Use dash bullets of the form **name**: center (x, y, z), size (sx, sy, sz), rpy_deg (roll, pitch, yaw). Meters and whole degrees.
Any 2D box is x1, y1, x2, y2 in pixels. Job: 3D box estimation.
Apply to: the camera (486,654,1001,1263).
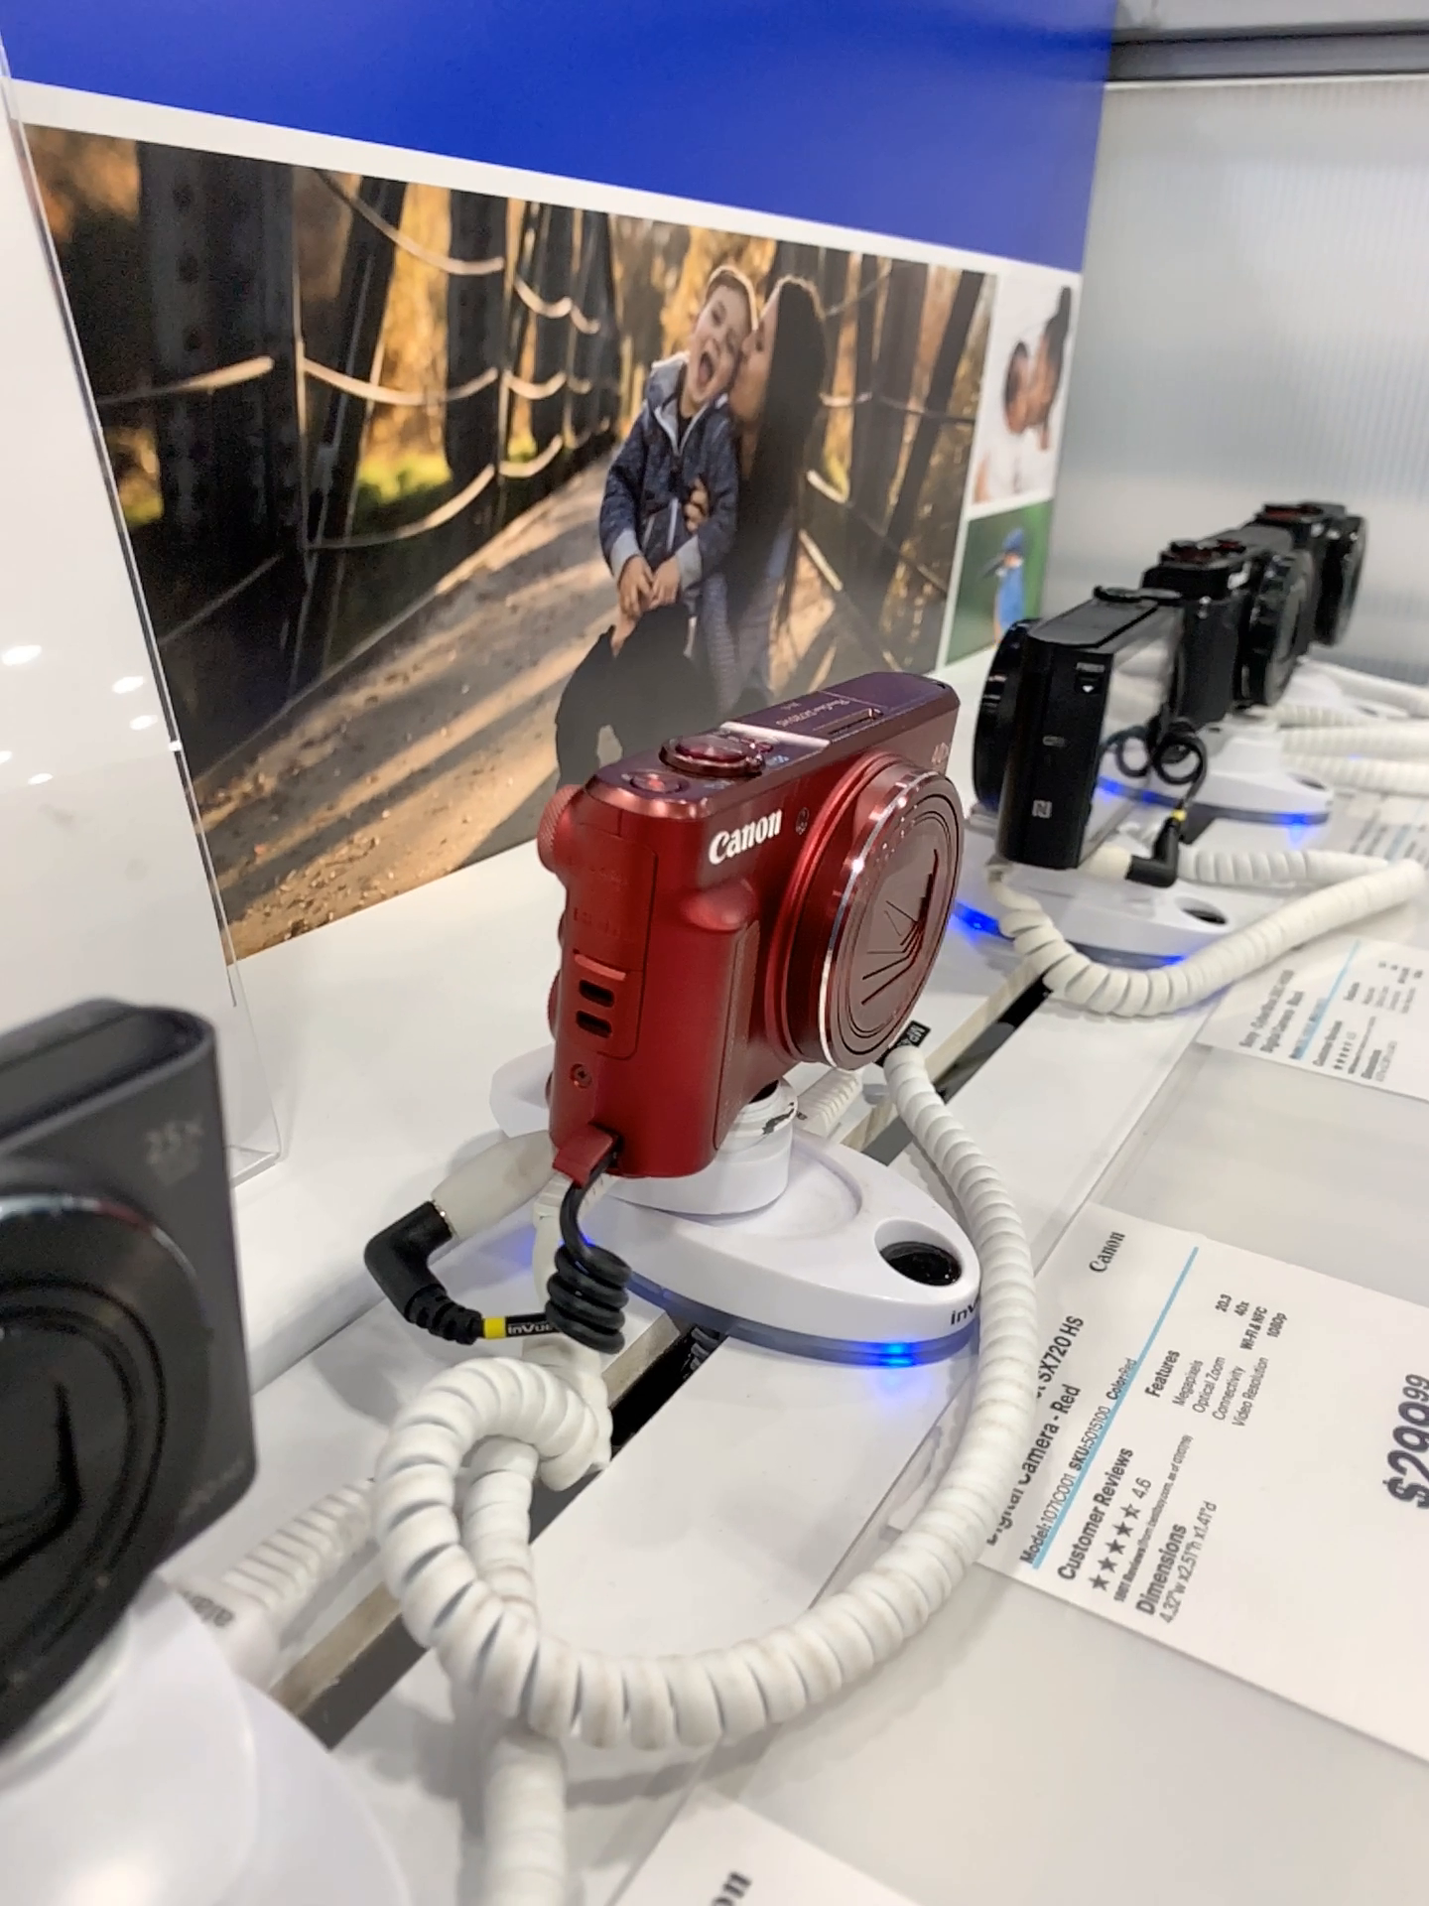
- **camera**: center (0.009, -0.006, 0.260), size (0.030, 0.070, 0.110), rpy_deg (20, 28, 27)
